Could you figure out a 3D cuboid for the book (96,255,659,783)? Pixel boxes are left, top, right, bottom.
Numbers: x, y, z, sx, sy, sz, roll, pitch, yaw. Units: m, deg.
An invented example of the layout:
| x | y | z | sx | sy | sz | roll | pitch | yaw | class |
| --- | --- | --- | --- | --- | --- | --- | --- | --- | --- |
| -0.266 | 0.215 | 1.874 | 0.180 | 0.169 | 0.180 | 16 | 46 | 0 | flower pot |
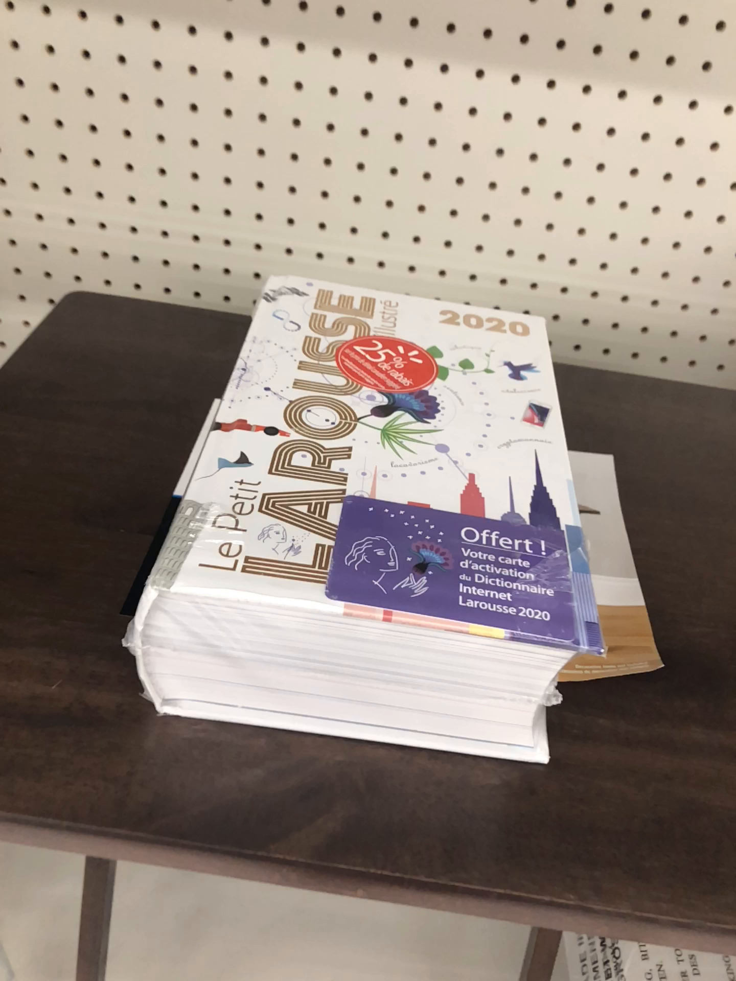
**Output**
| x | y | z | sx | sy | sz | roll | pitch | yaw | class |
| --- | --- | --- | --- | --- | --- | --- | --- | --- | --- |
| 0.008 | -0.008 | 0.354 | 0.170 | 0.069 | 0.232 | 8 | 40 | -1 | book |
